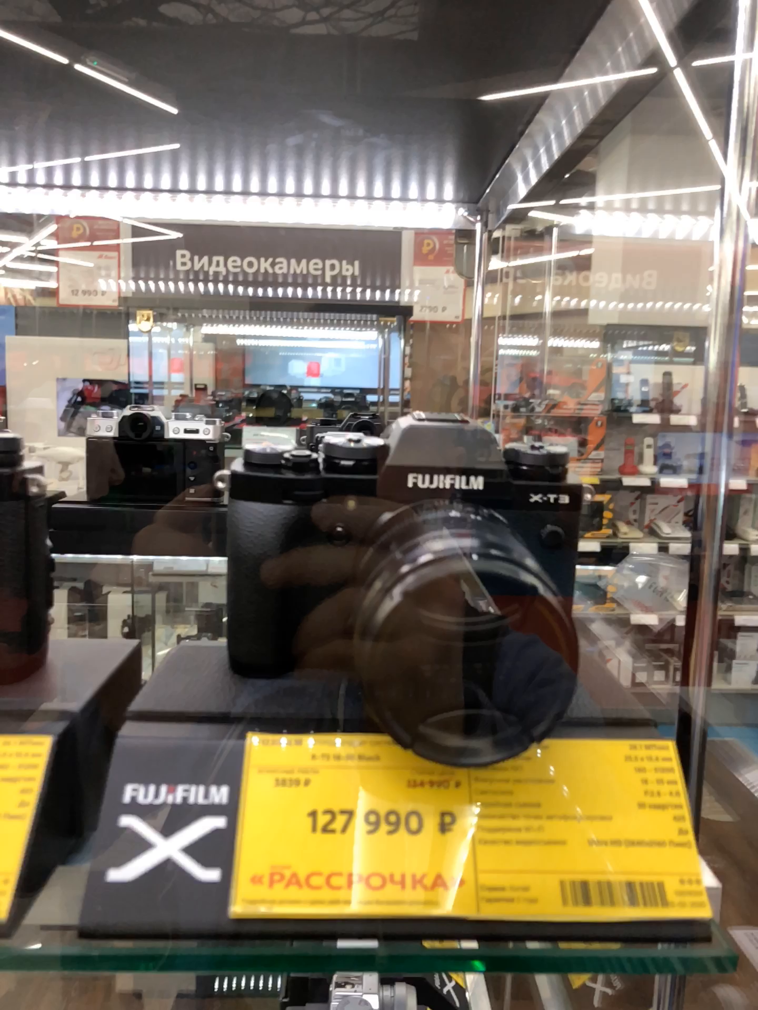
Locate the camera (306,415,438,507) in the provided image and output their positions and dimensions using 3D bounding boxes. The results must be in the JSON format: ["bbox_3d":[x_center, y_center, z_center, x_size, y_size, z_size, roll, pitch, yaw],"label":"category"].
[{"bbox_3d":[-0.006,-0.040,0.730,0.109,0.074,0.056,2,7,1],"label":"camera"}]

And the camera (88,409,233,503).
[{"bbox_3d":[-0.186,-0.043,0.717,0.109,0.074,0.056,2,7,1],"label":"camera"}]

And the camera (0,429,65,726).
[{"bbox_3d":[-0.185,0.021,0.289,0.125,0.088,0.066,1,7,-2],"label":"camera"}]

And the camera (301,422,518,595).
[{"bbox_3d":[0.015,-0.004,0.516,0.115,0.088,0.125,2,7,-1],"label":"camera"}]

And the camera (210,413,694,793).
[{"bbox_3d":[0.015,0.022,0.285,0.129,0.100,0.120,1,7,-4],"label":"camera"}]
